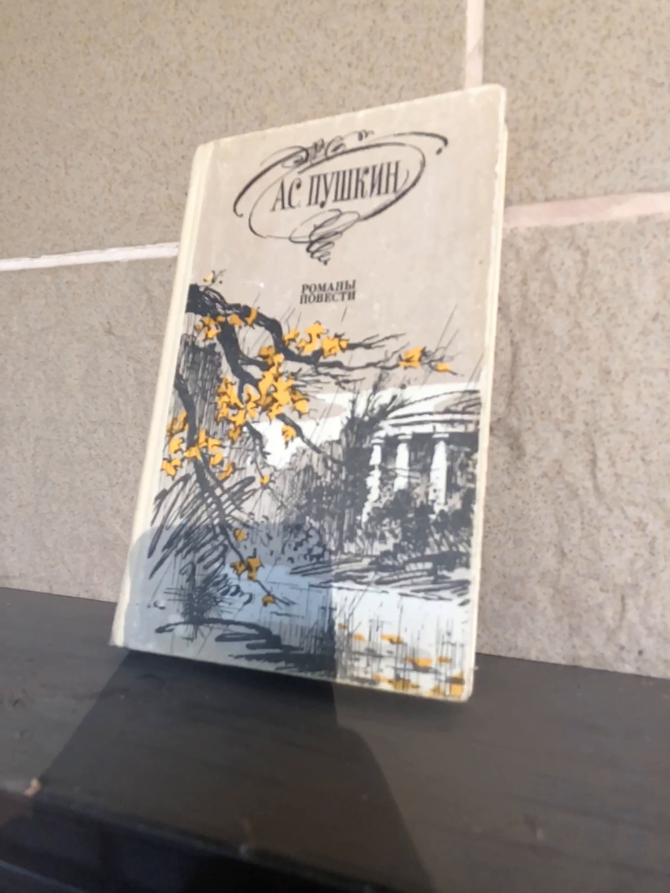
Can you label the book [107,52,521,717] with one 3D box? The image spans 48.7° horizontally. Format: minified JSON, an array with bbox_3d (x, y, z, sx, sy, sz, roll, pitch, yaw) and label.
[{"bbox_3d":[-0.008,-0.024,0.253,0.130,0.199,0.020,1,-10,26],"label":"book"}]
